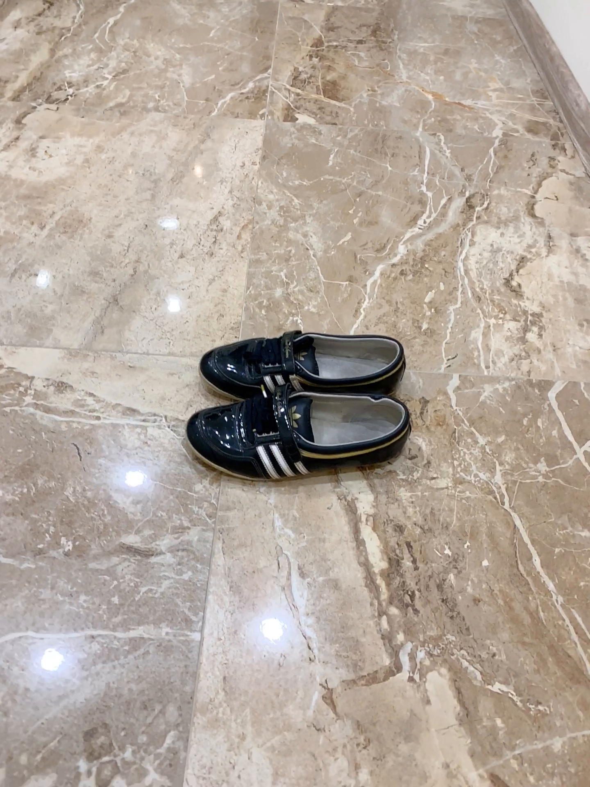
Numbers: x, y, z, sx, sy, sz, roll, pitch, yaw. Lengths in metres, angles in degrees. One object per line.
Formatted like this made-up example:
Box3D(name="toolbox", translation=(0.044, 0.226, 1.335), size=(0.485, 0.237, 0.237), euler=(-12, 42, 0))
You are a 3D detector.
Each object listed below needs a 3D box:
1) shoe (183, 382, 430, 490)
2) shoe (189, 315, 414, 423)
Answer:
Box3D(name="shoe", translation=(0.010, 0.045, 0.636), size=(0.240, 0.060, 0.096), euler=(1, 51, -4))
Box3D(name="shoe", translation=(0.007, -0.028, 0.698), size=(0.240, 0.060, 0.096), euler=(3, 51, -1))
